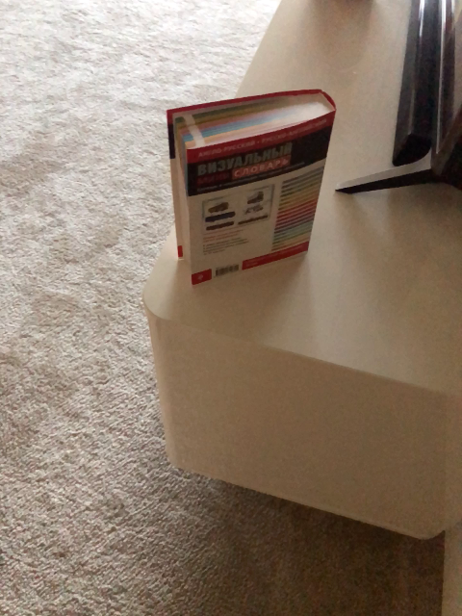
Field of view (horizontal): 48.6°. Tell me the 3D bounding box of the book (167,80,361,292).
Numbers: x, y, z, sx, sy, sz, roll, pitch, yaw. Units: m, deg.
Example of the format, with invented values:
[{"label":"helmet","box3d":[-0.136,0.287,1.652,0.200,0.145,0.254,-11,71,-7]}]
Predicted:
[{"label":"book","box3d":[0.023,-0.110,0.497,0.150,0.179,0.060,-15,57,-14]}]
